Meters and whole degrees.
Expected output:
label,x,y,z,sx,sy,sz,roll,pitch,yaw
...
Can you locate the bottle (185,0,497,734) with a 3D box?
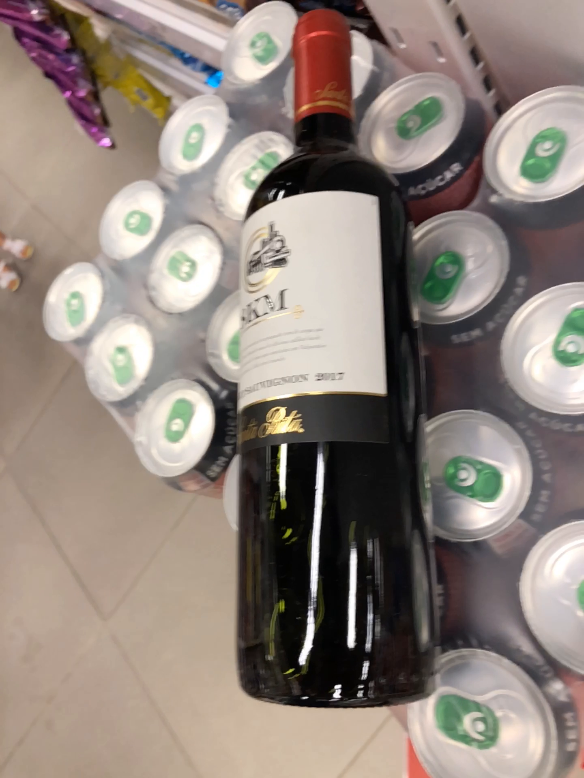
label,x,y,z,sx,sy,sz,roll,pitch,yaw
bottle,0.013,-0.048,0.264,0.080,0.070,0.320,-12,70,29
